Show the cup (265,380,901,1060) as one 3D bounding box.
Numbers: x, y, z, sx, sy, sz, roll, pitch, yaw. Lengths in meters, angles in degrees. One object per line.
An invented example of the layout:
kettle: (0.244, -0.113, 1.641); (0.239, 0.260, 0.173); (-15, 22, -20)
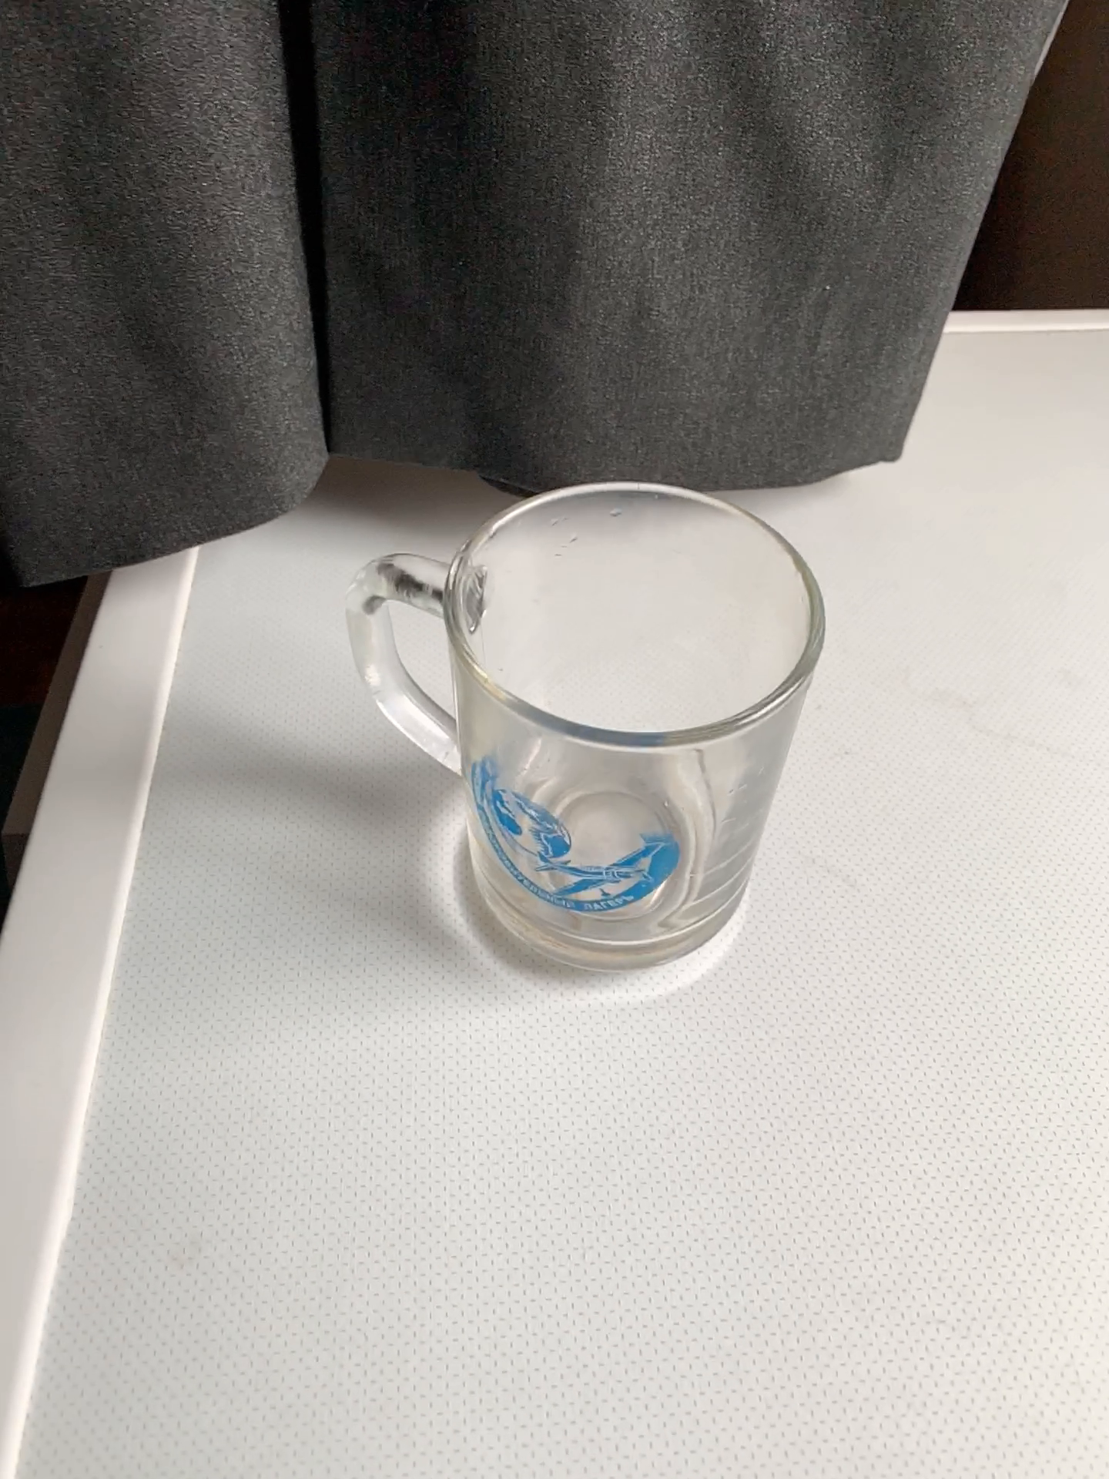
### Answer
cup: (0.005, -0.005, 0.239); (0.090, 0.089, 0.070); (28, 54, 21)
